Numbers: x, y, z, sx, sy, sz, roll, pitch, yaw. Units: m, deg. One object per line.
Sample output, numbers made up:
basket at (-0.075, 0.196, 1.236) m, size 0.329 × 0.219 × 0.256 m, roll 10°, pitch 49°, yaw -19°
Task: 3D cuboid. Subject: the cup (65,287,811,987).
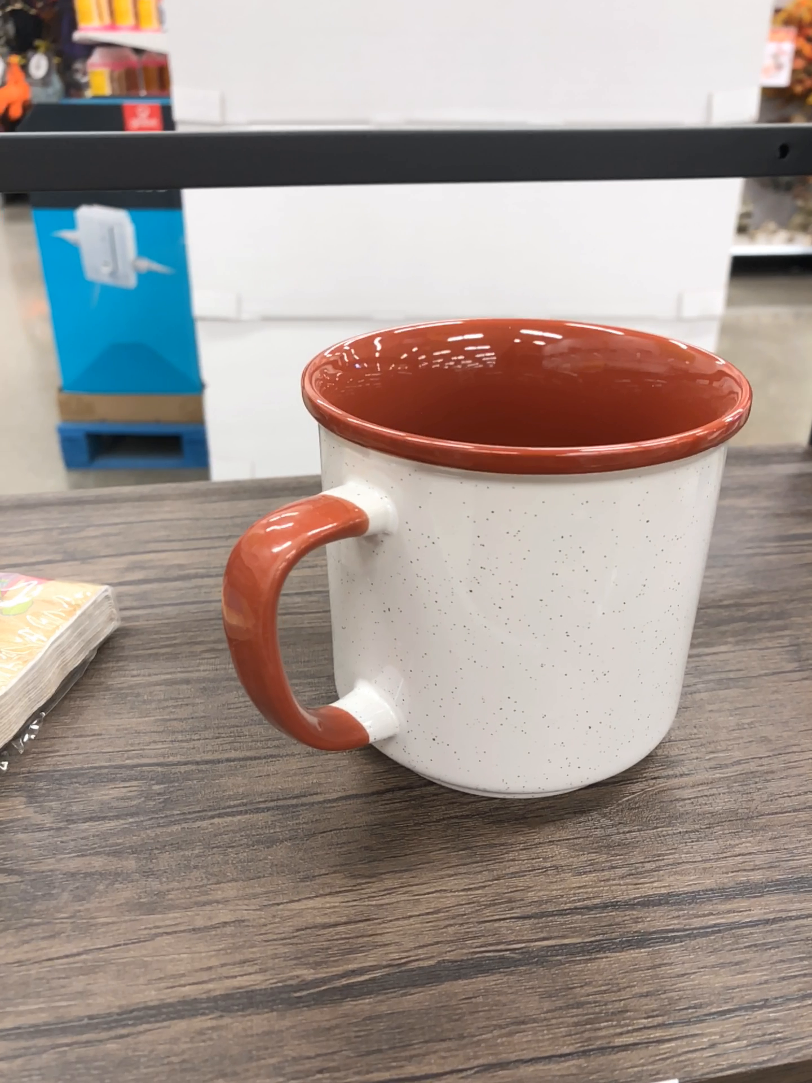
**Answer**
cup at (0.017, 0.002, 0.234) m, size 0.110 × 0.090 × 0.150 m, roll 25°, pitch 37°, yaw 38°
